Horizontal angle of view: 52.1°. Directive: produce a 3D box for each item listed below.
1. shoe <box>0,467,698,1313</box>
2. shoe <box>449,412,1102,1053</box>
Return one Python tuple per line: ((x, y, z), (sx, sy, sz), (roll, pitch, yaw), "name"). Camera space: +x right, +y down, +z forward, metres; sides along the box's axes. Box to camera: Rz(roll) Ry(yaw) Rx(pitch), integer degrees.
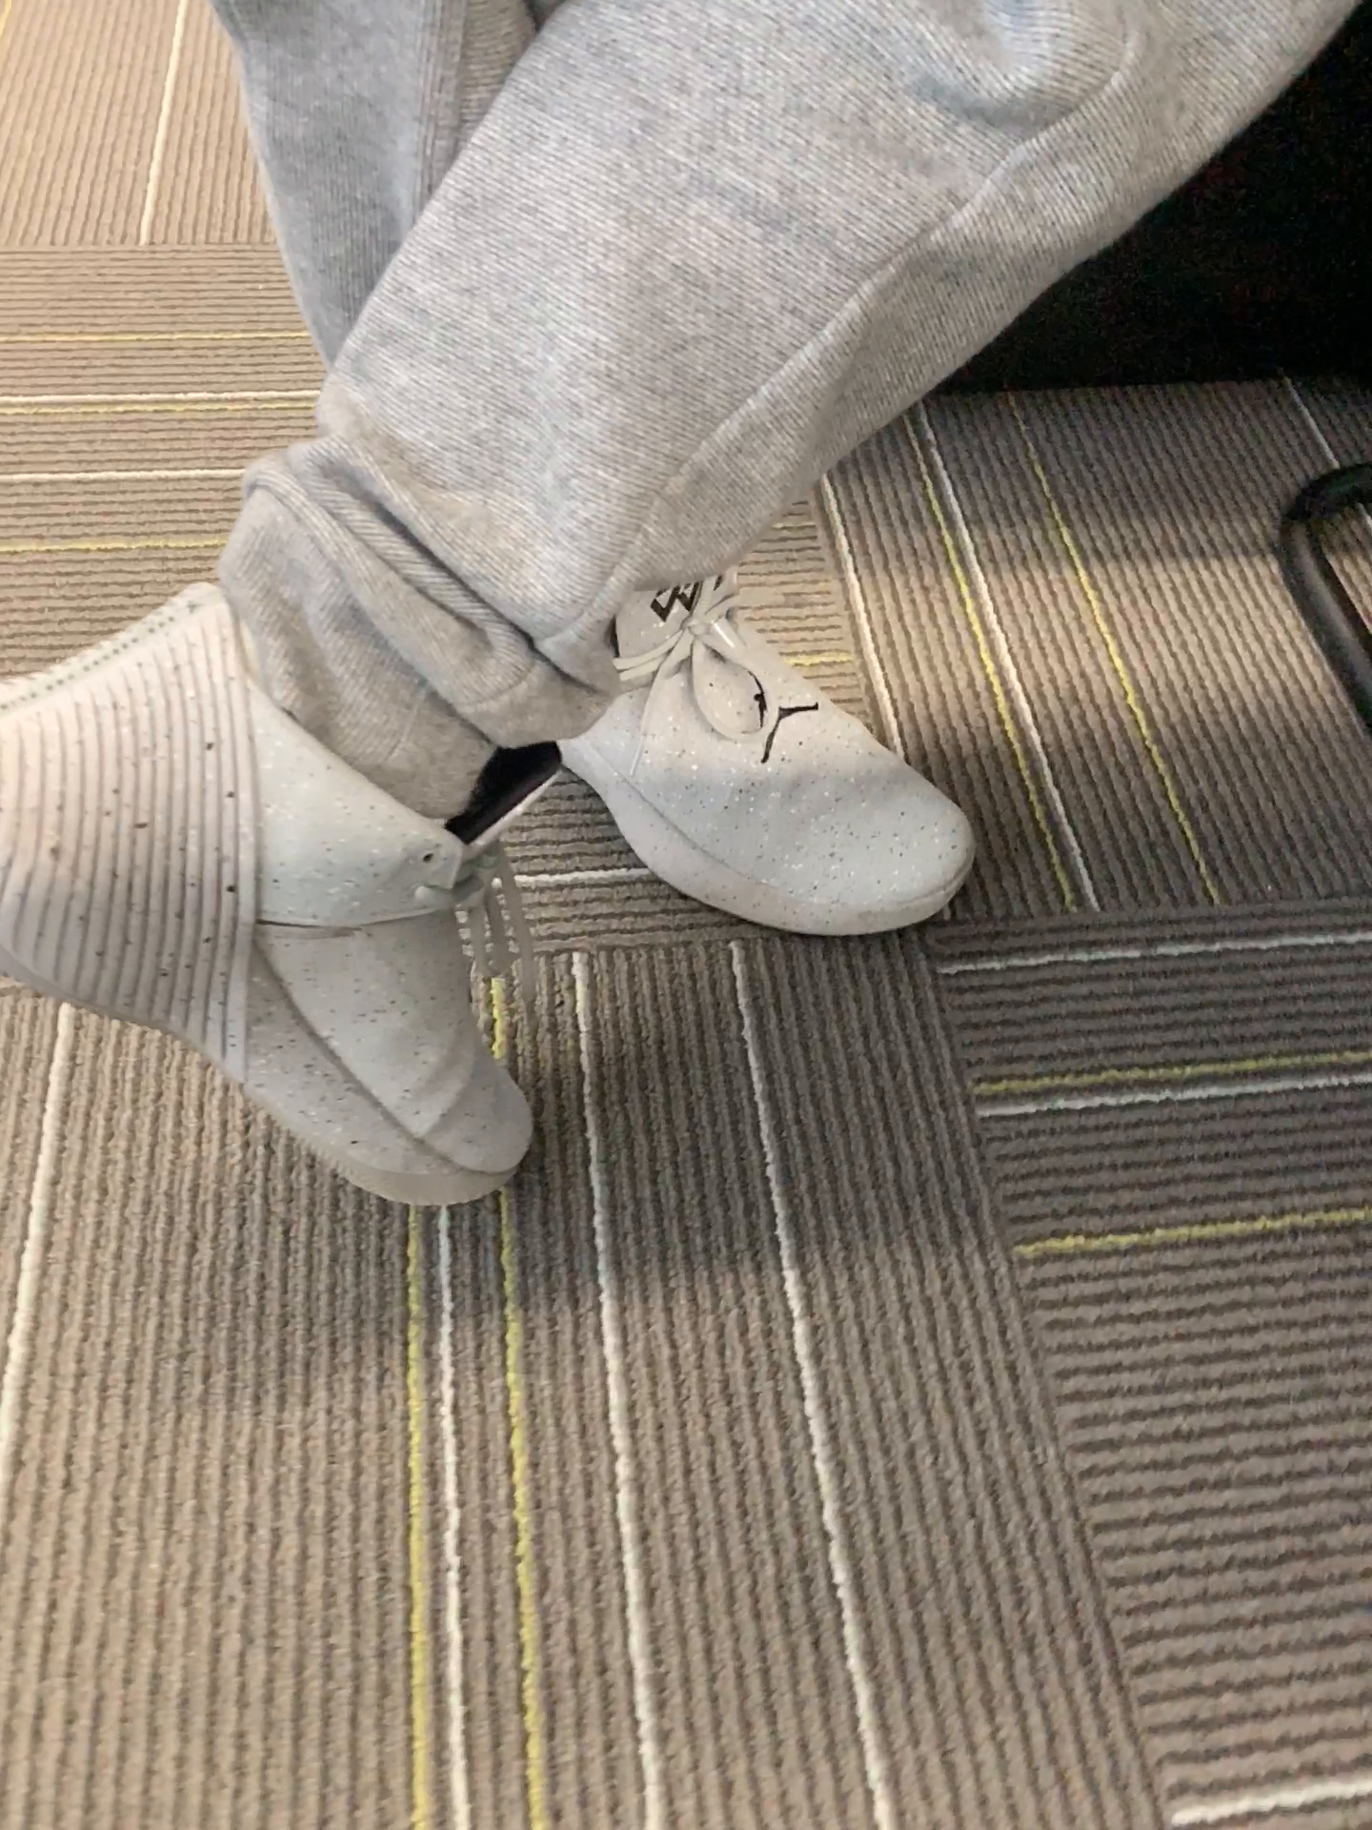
((-0.124, 0.010, 0.493), (0.120, 0.279, 0.120), (-35, 48, 0), "shoe")
((0.032, -0.094, 0.699), (0.281, 0.149, 0.130), (38, 61, 20), "shoe")
